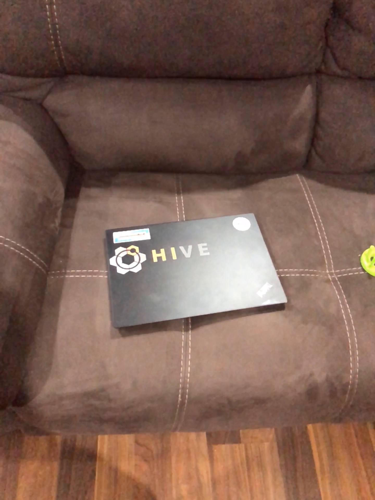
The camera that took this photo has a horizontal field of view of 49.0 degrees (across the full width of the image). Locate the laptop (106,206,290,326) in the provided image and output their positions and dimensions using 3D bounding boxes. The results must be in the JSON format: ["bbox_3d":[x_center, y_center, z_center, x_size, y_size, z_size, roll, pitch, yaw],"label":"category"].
[{"bbox_3d":[0.008,0.021,0.829,0.328,0.019,0.236,-7,53,-7],"label":"laptop"}]
